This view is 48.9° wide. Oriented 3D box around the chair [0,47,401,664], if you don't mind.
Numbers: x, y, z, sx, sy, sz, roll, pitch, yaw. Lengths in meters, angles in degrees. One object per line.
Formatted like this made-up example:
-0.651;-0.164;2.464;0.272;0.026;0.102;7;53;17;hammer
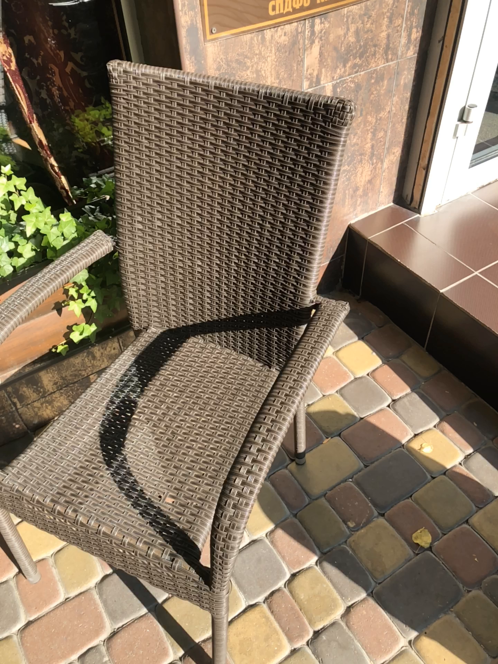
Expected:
-0.141;0.092;0.940;0.520;0.846;0.582;18;49;19;chair
